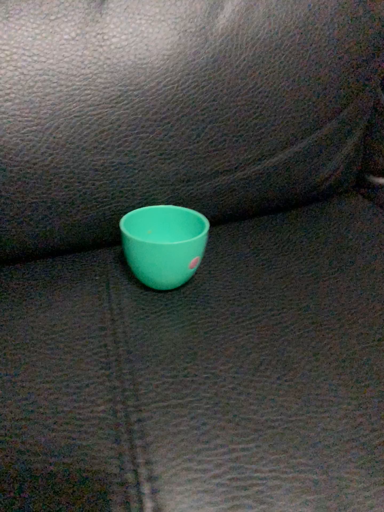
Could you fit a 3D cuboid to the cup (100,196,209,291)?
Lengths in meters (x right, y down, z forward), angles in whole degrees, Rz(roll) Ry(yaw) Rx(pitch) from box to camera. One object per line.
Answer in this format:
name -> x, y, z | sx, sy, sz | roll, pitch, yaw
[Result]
cup -> -0.018, -0.010, 0.231 | 0.053, 0.030, 0.063 | 4, 24, 2
